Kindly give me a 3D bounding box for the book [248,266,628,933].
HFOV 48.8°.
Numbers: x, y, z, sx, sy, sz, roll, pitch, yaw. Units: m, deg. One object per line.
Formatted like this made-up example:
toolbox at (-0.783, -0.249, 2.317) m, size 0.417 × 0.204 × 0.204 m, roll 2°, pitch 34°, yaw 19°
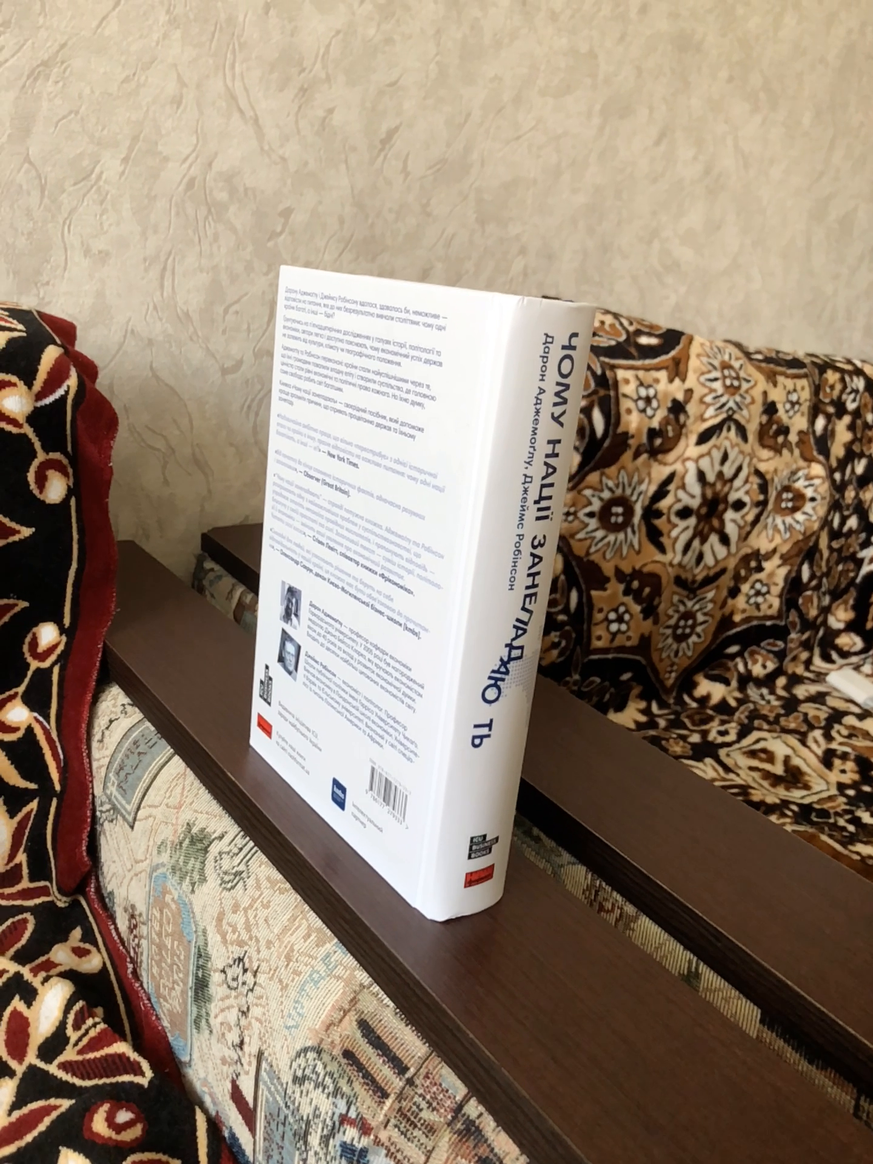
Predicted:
book at (-0.014, -0.004, 0.373) m, size 0.042 × 0.212 × 0.151 m, roll -6°, pitch 21°, yaw -37°
